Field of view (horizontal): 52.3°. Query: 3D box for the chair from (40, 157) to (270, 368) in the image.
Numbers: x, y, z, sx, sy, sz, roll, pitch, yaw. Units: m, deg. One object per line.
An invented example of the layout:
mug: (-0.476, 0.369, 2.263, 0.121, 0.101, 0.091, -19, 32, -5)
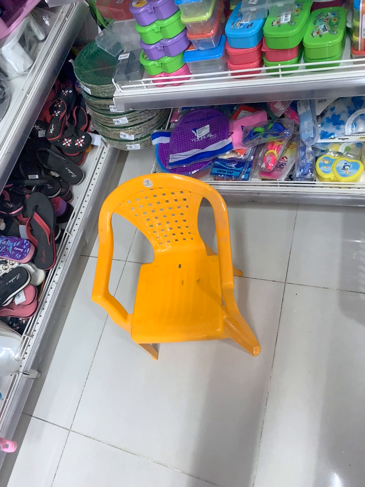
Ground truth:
chair: (-0.021, 0.099, 0.969, 0.401, 0.459, 0.360, -8, 62, 18)
